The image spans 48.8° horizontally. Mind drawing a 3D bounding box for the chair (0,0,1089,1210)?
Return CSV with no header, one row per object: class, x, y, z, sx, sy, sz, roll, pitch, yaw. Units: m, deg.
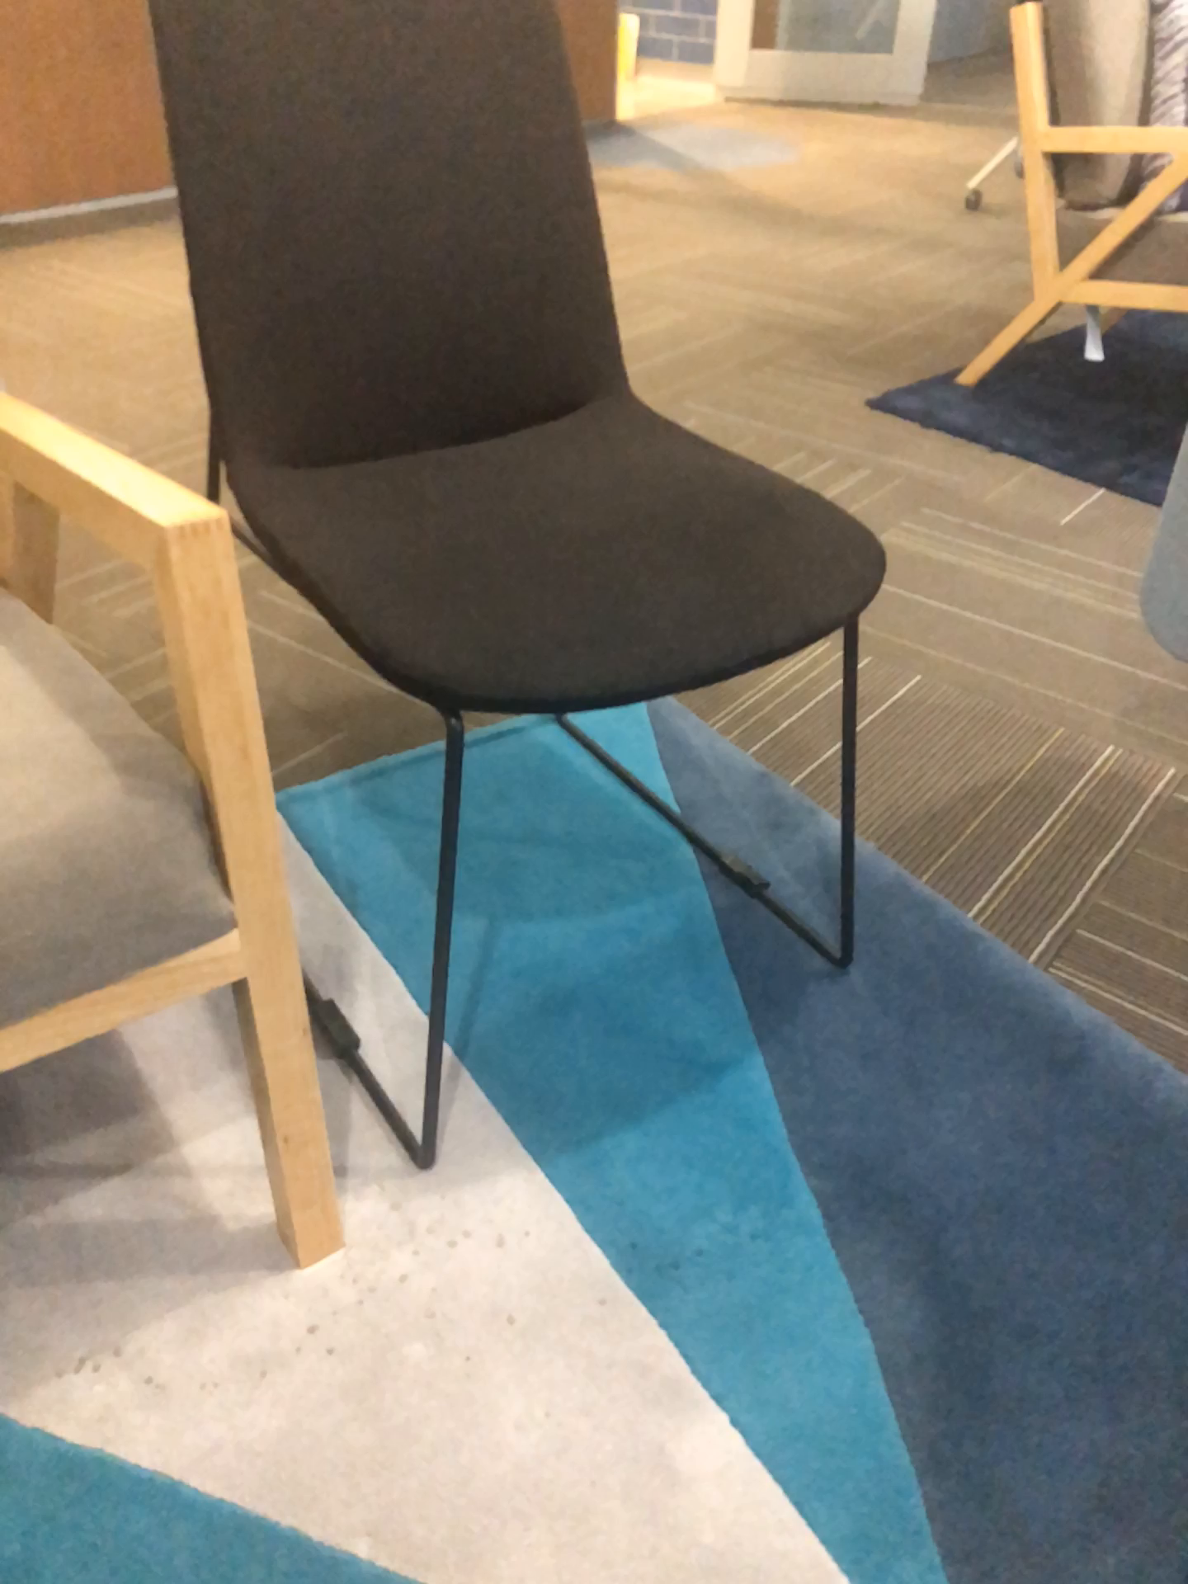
chair,-0.108,-0.256,1.137,0.503,0.822,0.683,-19,40,-27
